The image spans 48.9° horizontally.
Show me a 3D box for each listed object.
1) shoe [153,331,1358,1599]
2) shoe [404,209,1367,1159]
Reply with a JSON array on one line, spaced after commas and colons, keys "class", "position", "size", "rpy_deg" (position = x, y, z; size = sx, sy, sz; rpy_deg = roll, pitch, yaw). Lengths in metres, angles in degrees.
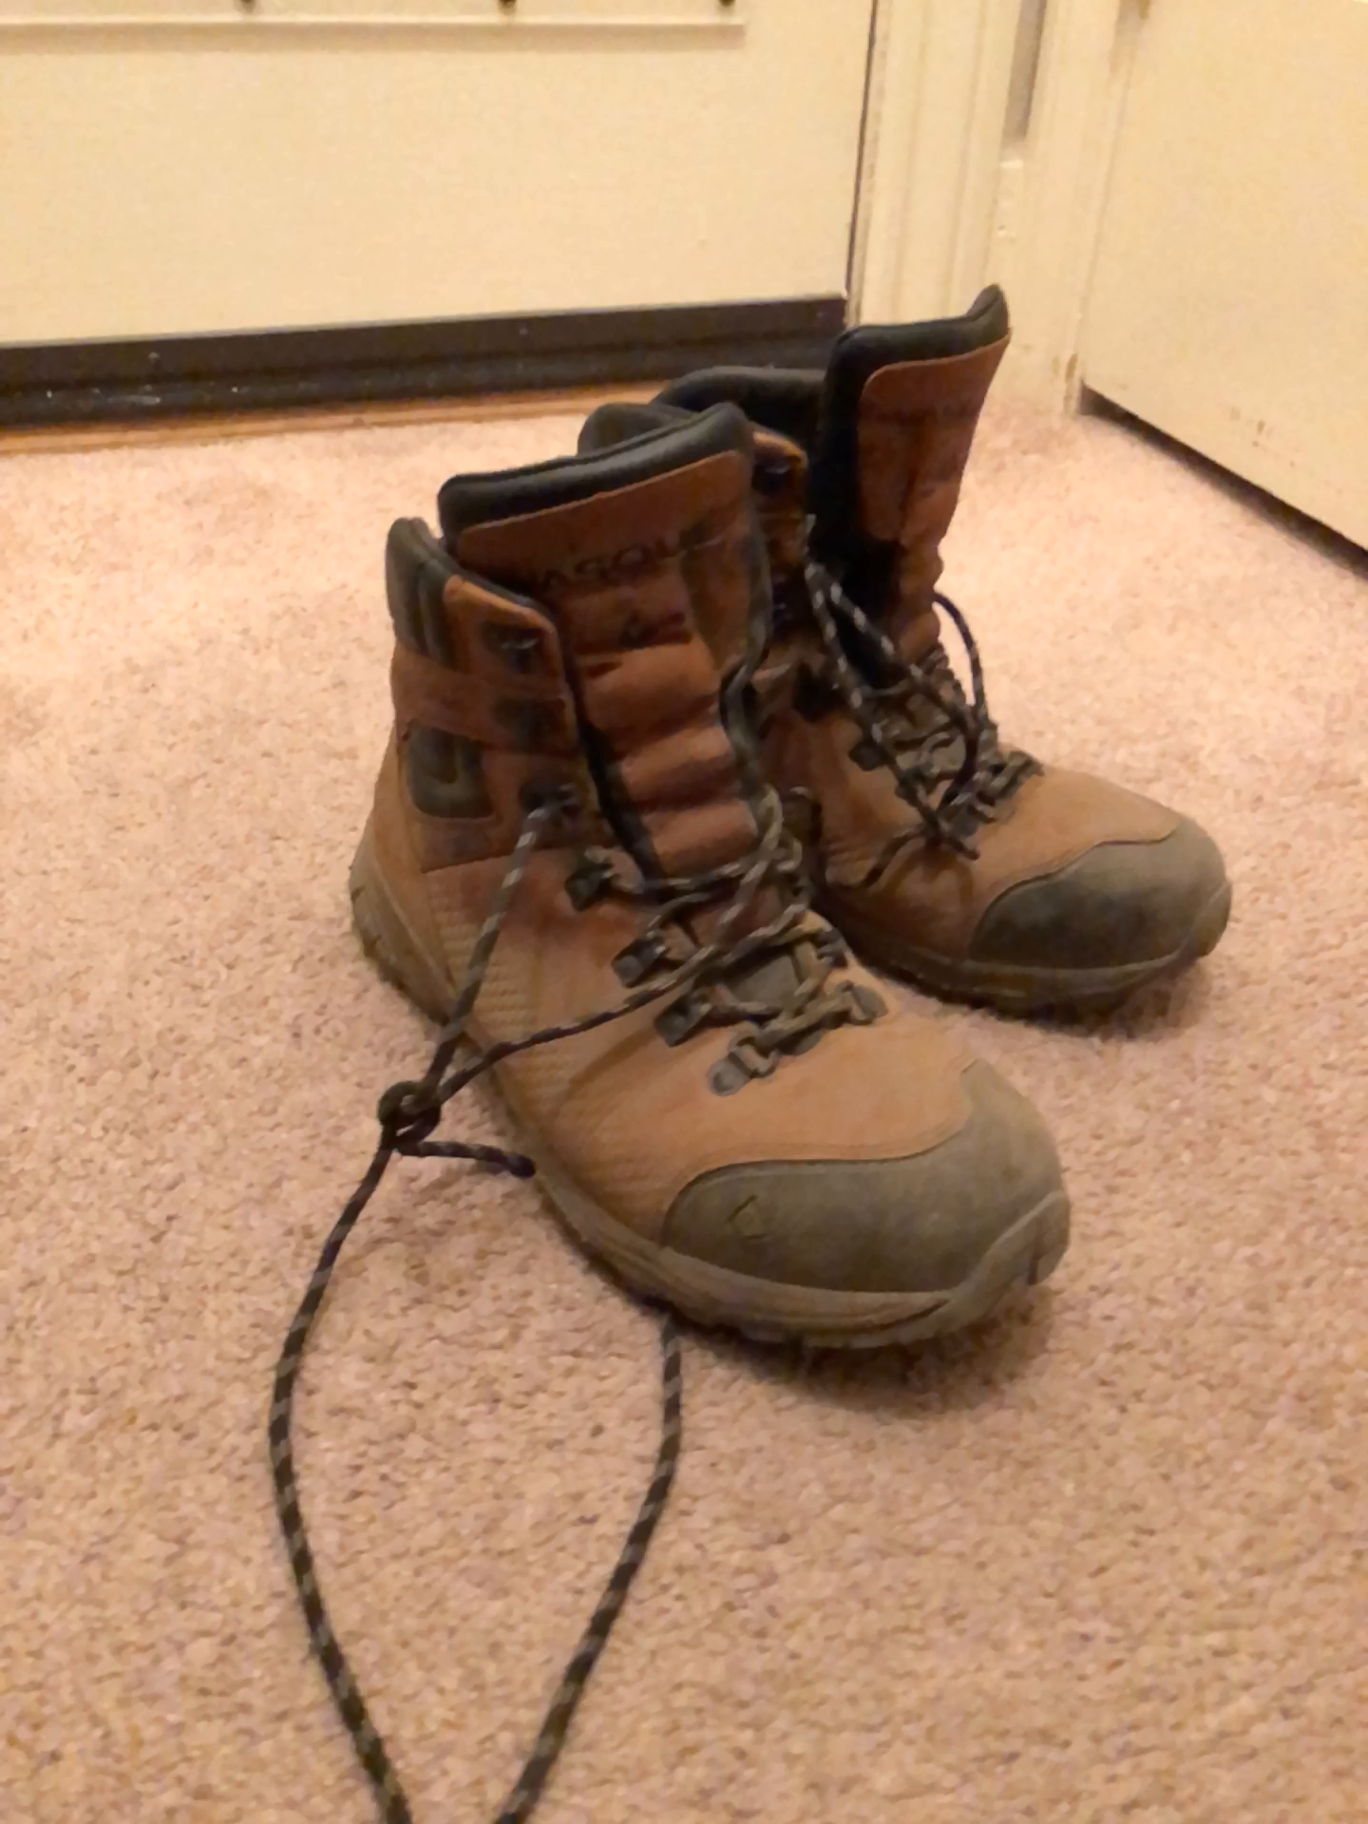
[{"class": "shoe", "position": [-0.010, -0.011, 0.439], "size": [0.121, 0.219, 0.311], "rpy_deg": [-26, 44, -33]}, {"class": "shoe", "position": [0.058, -0.098, 0.546], "size": [0.311, 0.229, 0.121], "rpy_deg": [26, 42, 29]}]
